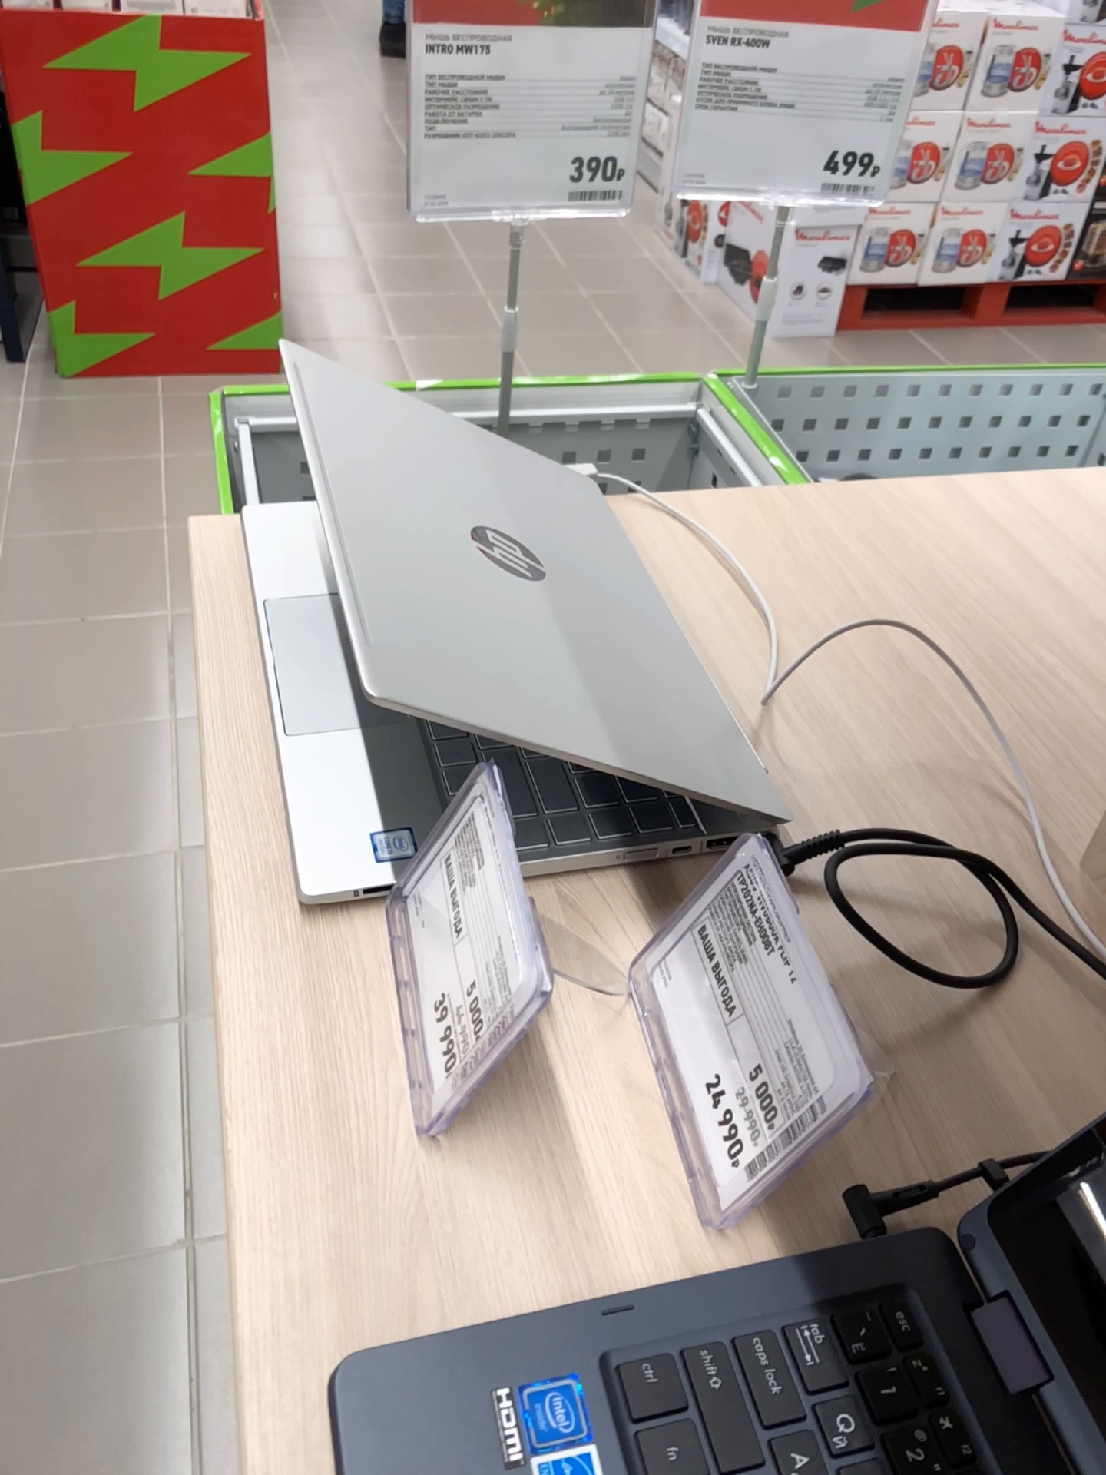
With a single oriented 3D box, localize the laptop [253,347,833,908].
[{"bbox_3d":[-0.032,-0.081,0.608,0.206,0.095,0.323,-7,40,-13],"label":"laptop"}]
